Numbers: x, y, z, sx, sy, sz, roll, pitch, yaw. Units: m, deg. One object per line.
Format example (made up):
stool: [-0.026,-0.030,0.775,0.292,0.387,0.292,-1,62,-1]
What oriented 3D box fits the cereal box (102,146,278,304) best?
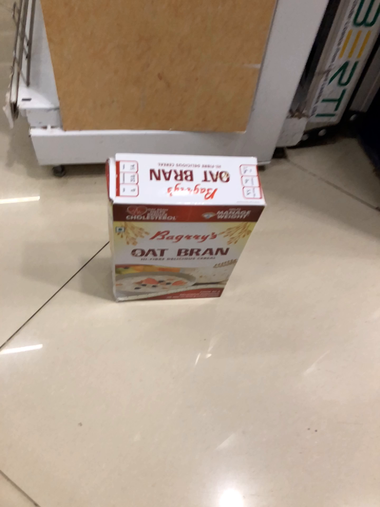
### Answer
cereal box: [-0.009,-0.016,0.457,0.150,0.209,0.060,1,59,-6]
